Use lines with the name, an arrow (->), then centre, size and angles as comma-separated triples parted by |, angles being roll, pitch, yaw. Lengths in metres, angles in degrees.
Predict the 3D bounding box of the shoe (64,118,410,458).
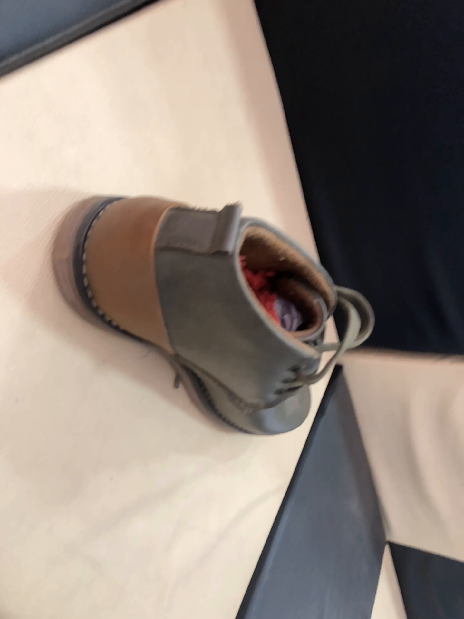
shoe -> 0.038, 0.017, 0.335 | 0.282, 0.099, 0.080 | 46, 53, -52
